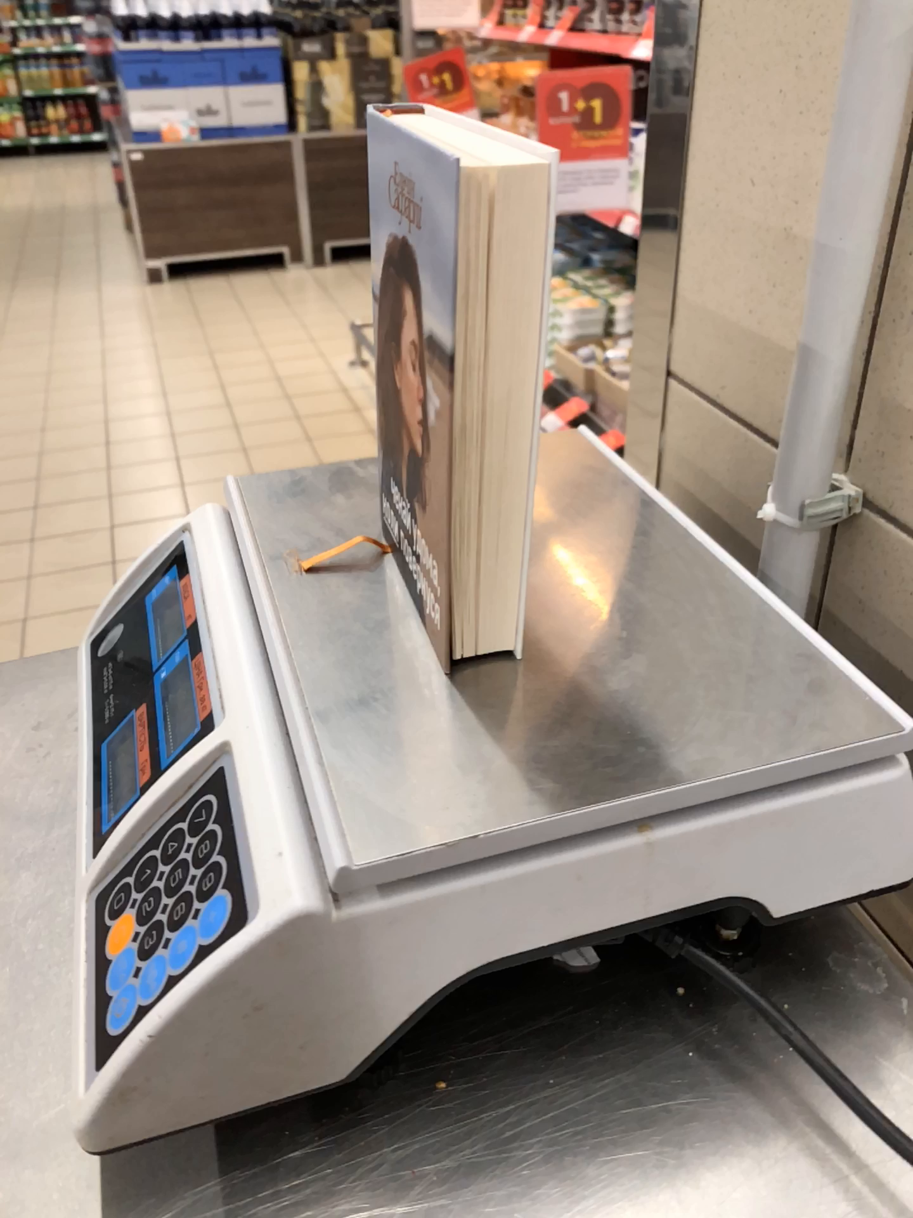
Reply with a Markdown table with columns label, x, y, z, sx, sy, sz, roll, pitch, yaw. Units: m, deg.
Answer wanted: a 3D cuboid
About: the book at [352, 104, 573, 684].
| label | x | y | z | sx | sy | sz | roll | pitch | yaw |
| --- | --- | --- | --- | --- | --- | --- | --- | --- | --- |
| book | -0.005 | -0.088 | 0.396 | 0.037 | 0.186 | 0.137 | -8 | 32 | -15 |
